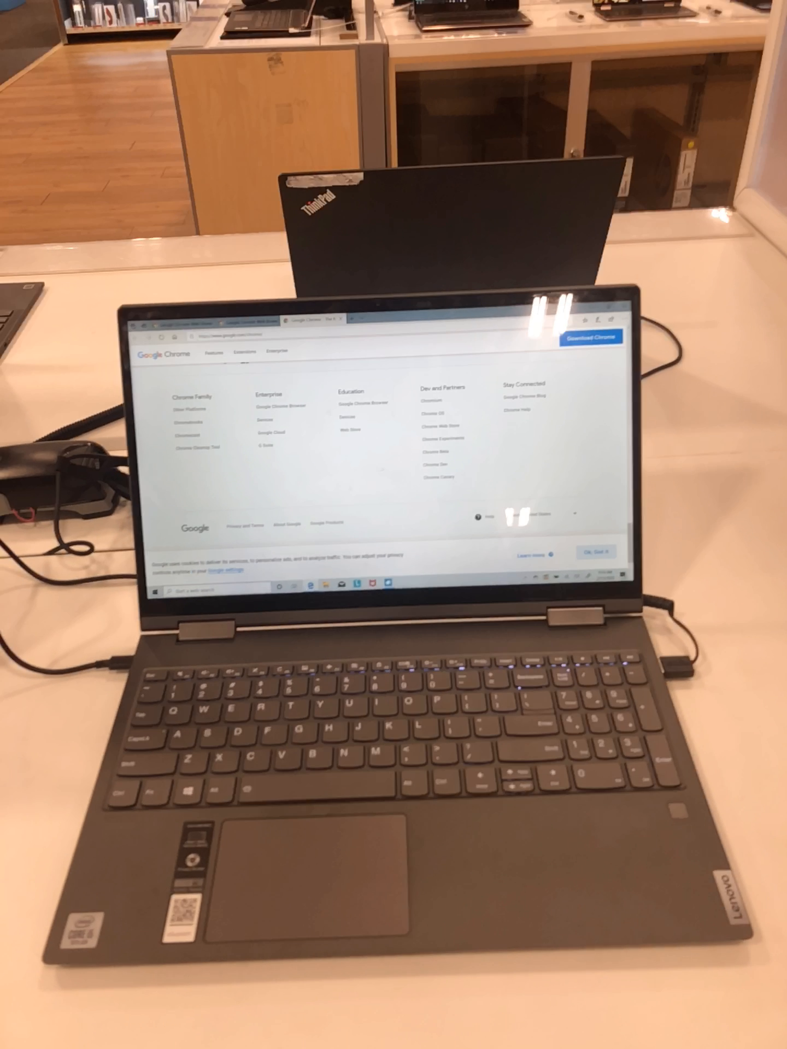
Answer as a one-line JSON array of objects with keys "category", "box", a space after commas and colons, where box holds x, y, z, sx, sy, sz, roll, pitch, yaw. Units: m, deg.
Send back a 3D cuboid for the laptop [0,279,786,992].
[{"category": "laptop", "box": [-0.009, 0.035, 0.514, 0.352, 0.178, 0.366, -2, 43, 0]}]
